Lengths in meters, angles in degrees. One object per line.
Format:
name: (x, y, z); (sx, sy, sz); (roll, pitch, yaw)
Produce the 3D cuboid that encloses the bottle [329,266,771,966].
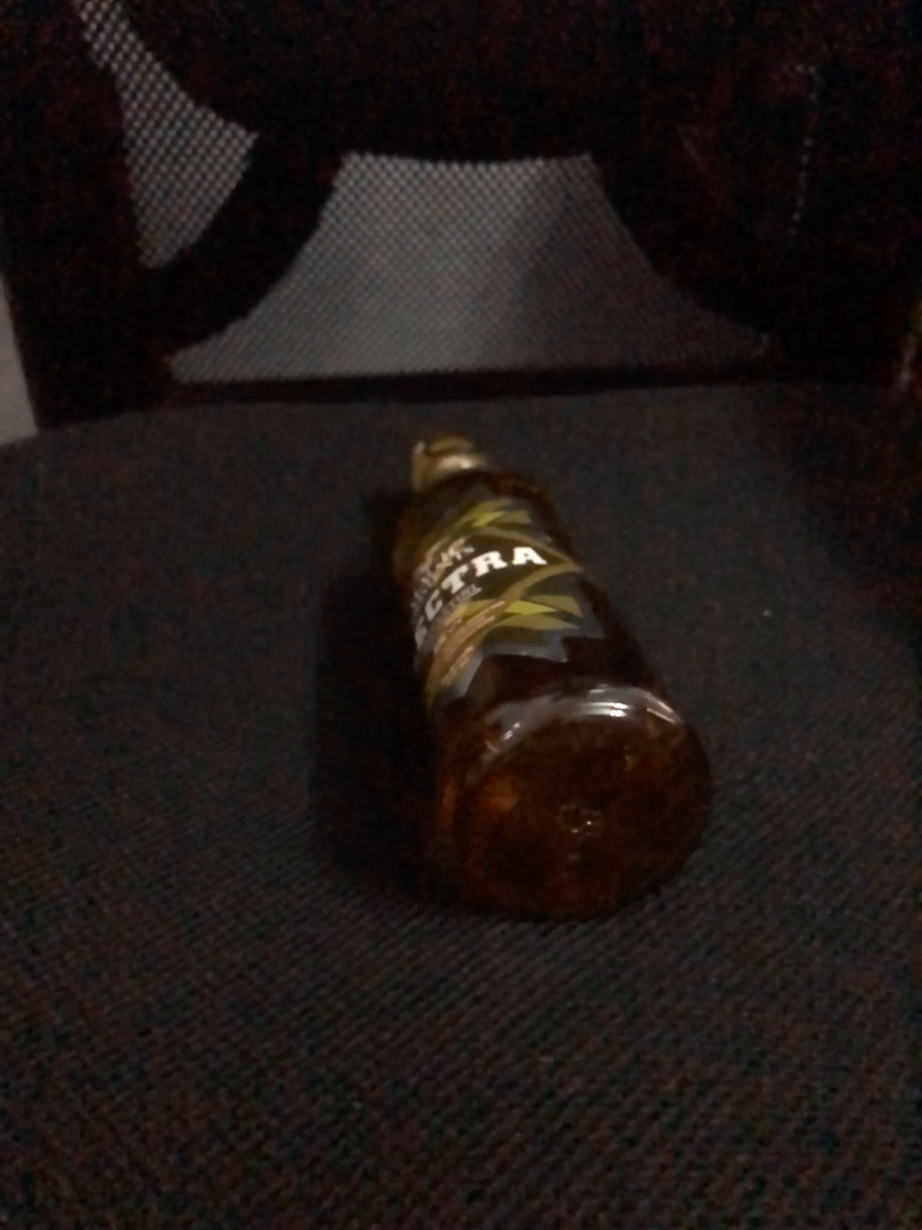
bottle: (0.008, -0.025, 0.292); (0.070, 0.060, 0.231); (-11, 37, -2)
